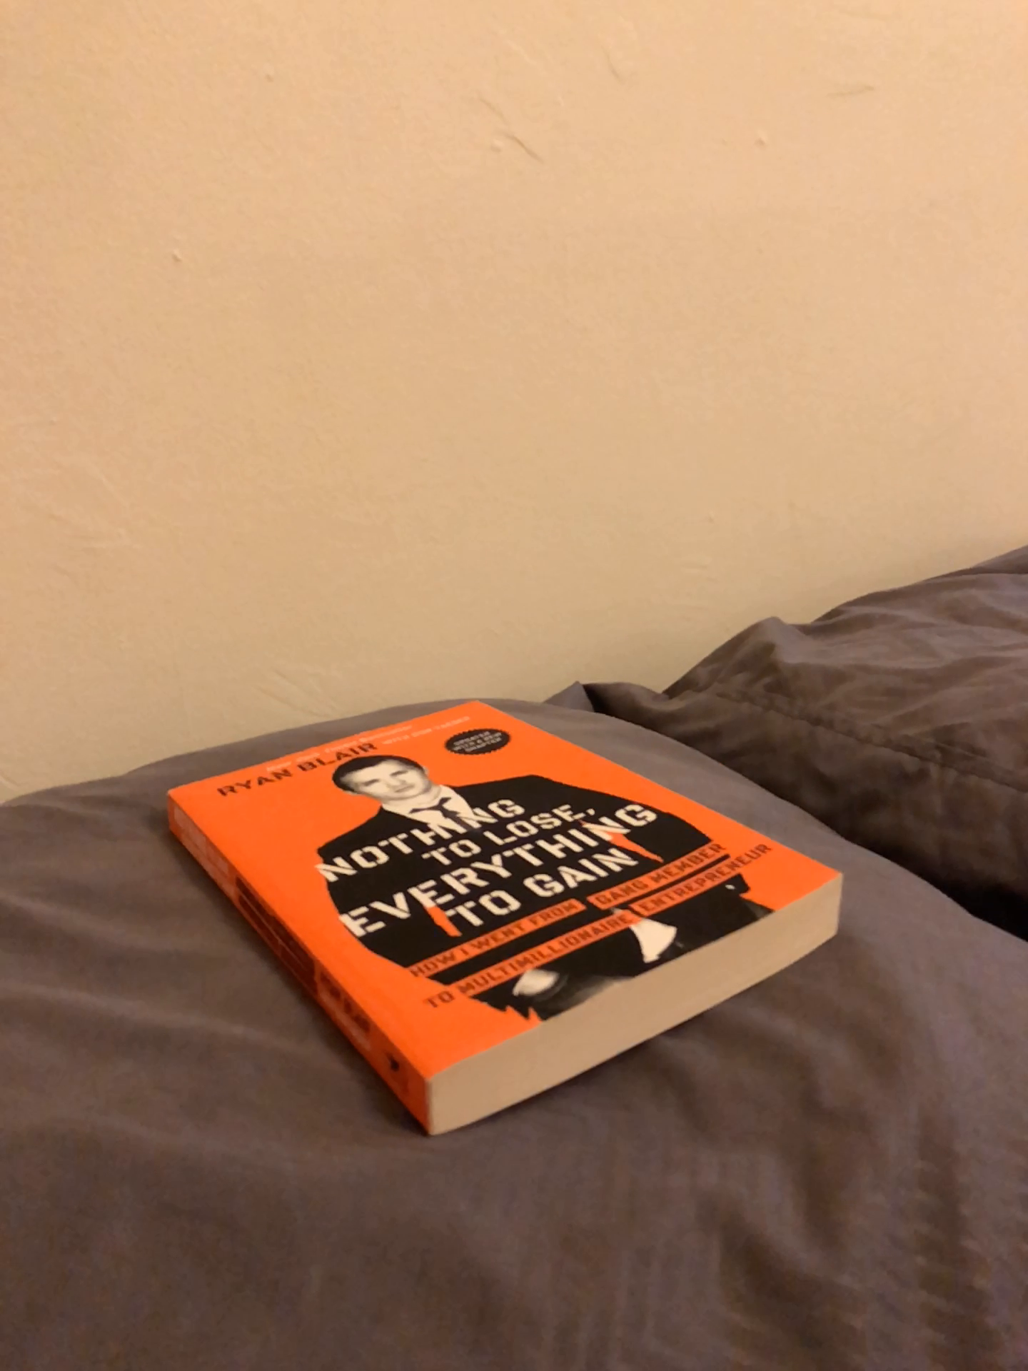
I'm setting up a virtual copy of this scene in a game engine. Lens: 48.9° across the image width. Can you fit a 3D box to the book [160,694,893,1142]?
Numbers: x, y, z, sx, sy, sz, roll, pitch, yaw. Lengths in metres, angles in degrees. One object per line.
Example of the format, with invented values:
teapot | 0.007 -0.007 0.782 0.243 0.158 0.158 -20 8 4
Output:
book | -0.013 0.055 0.390 0.150 0.020 0.231 -12 20 -30
